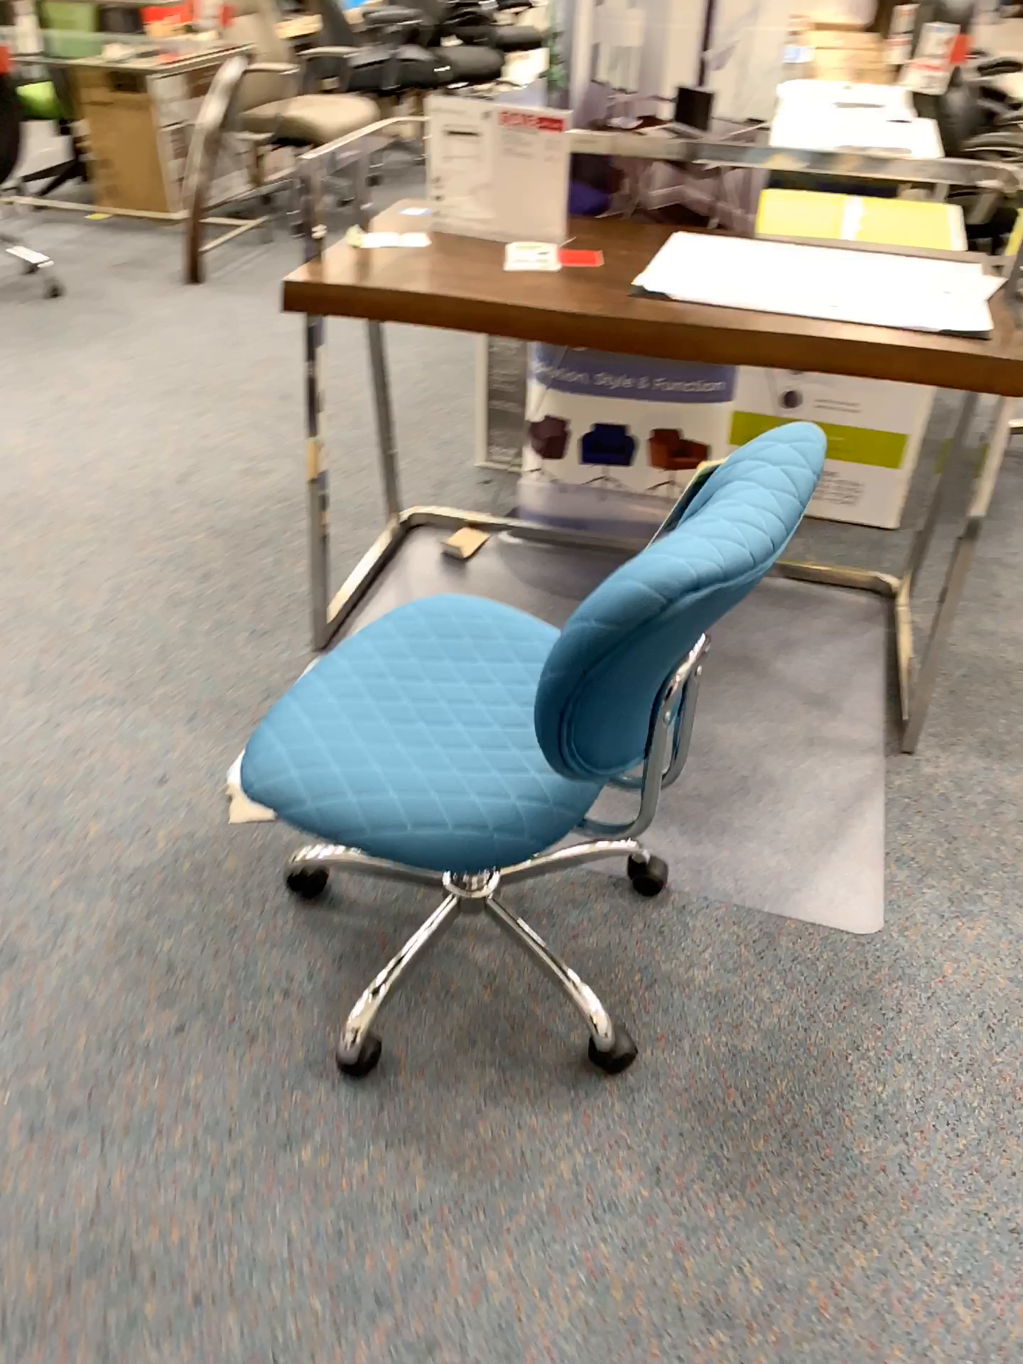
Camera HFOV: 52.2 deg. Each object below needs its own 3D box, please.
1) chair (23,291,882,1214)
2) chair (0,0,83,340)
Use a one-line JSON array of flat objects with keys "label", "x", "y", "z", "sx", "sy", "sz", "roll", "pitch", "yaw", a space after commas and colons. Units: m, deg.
[{"label": "chair", "x": -0.036, "y": 0.042, "z": 1.304, "sx": 0.665, "sy": 0.775, "sz": 0.600, "roll": 20, "pitch": 41, "yaw": 22}, {"label": "chair", "x": -2.097, "y": -1.938, "z": 3.749, "sx": 0.698, "sy": 0.875, "sz": 1.440, "roll": -15, "pitch": 40, "yaw": -21}]
